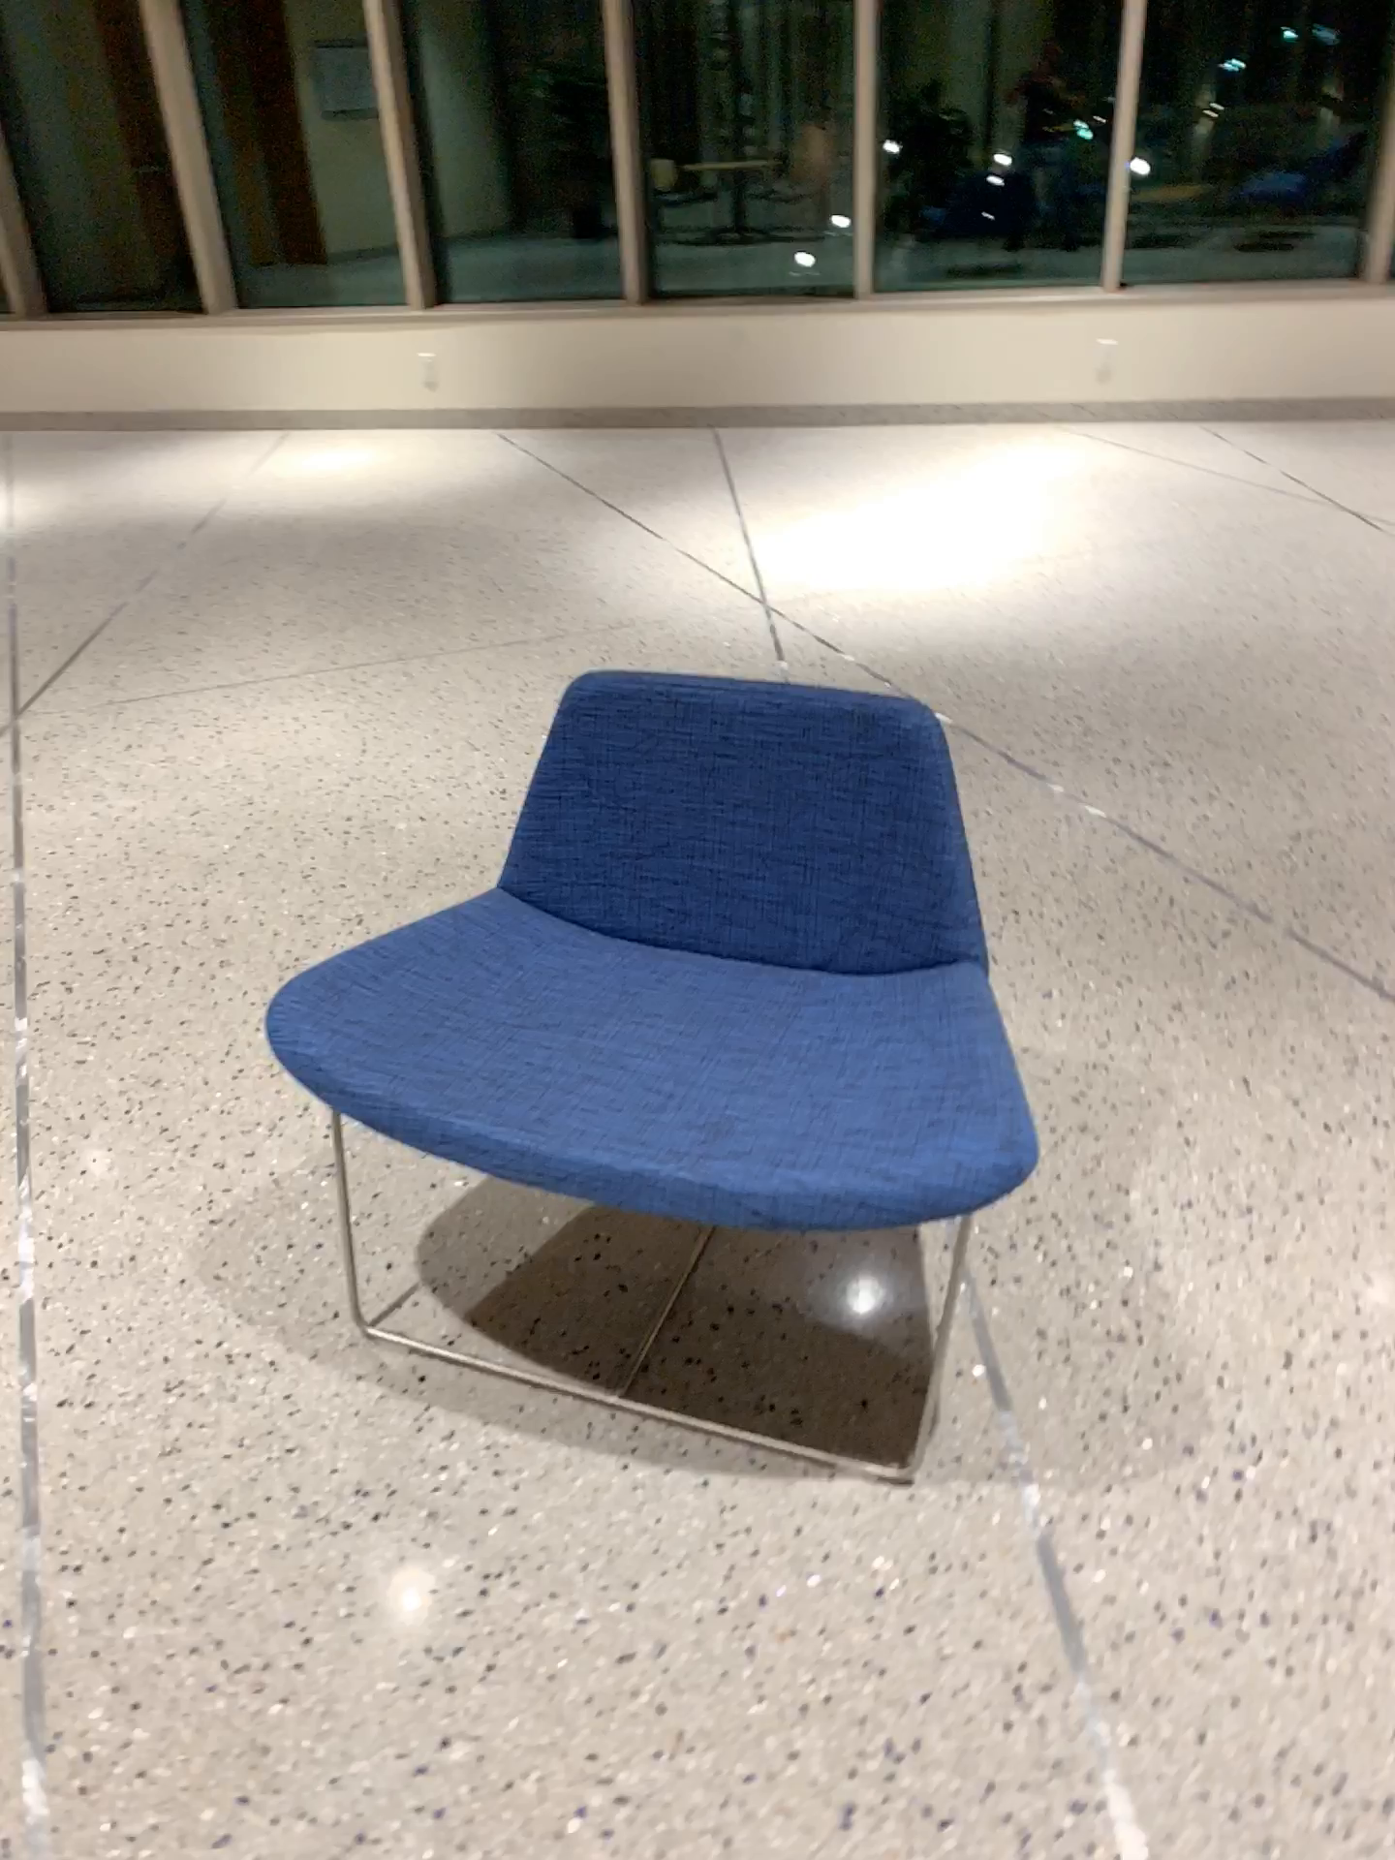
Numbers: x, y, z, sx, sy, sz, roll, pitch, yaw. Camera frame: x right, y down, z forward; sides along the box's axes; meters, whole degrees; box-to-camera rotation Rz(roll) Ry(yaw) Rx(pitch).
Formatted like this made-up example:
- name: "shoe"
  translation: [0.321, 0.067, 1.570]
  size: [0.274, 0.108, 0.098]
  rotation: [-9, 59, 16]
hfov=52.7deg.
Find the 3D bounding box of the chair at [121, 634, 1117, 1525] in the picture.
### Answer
- name: "chair"
  translation: [-0.032, 0.108, 1.763]
  size: [0.942, 0.698, 0.666]
  rotation: [8, 32, 20]
